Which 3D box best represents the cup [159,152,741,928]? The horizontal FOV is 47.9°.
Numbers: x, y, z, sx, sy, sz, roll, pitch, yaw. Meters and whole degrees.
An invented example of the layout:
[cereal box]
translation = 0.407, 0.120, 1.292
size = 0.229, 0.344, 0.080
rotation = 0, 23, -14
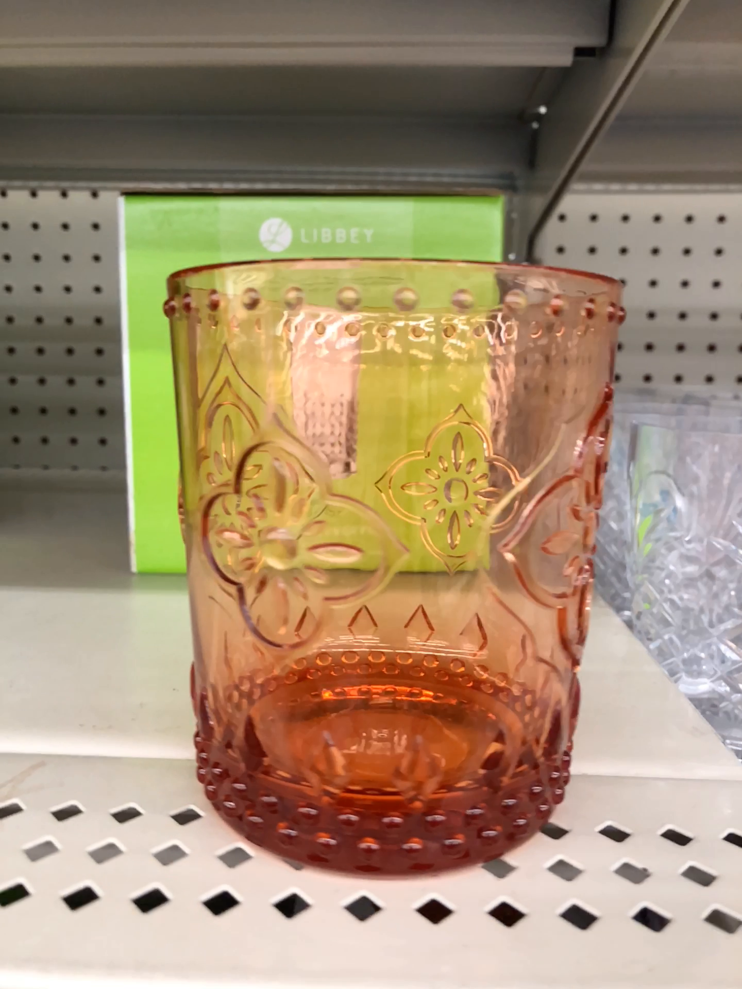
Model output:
[cup]
translation = 0.008, 0.002, 0.168
size = 0.090, 0.110, 0.080
rotation = -2, 9, -20
